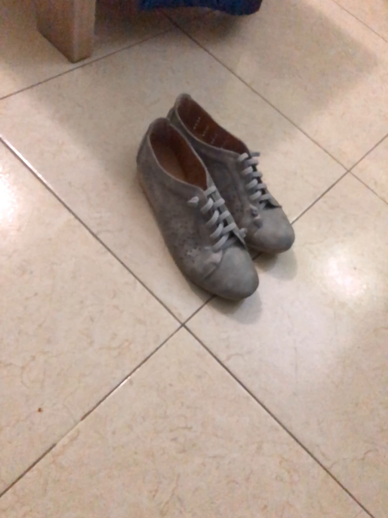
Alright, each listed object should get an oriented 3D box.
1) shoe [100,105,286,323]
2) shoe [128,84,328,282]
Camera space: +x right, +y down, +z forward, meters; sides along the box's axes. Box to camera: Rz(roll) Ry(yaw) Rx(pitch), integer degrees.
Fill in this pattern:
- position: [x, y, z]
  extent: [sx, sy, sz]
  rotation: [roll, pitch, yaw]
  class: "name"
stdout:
- position: [-0.015, -0.070, 0.620]
  extent: [0.100, 0.100, 0.290]
  rotation: [-27, 71, -27]
  class: "shoe"
- position: [0.041, -0.117, 0.657]
  extent: [0.290, 0.100, 0.100]
  rotation: [44, 59, 11]
  class: "shoe"
